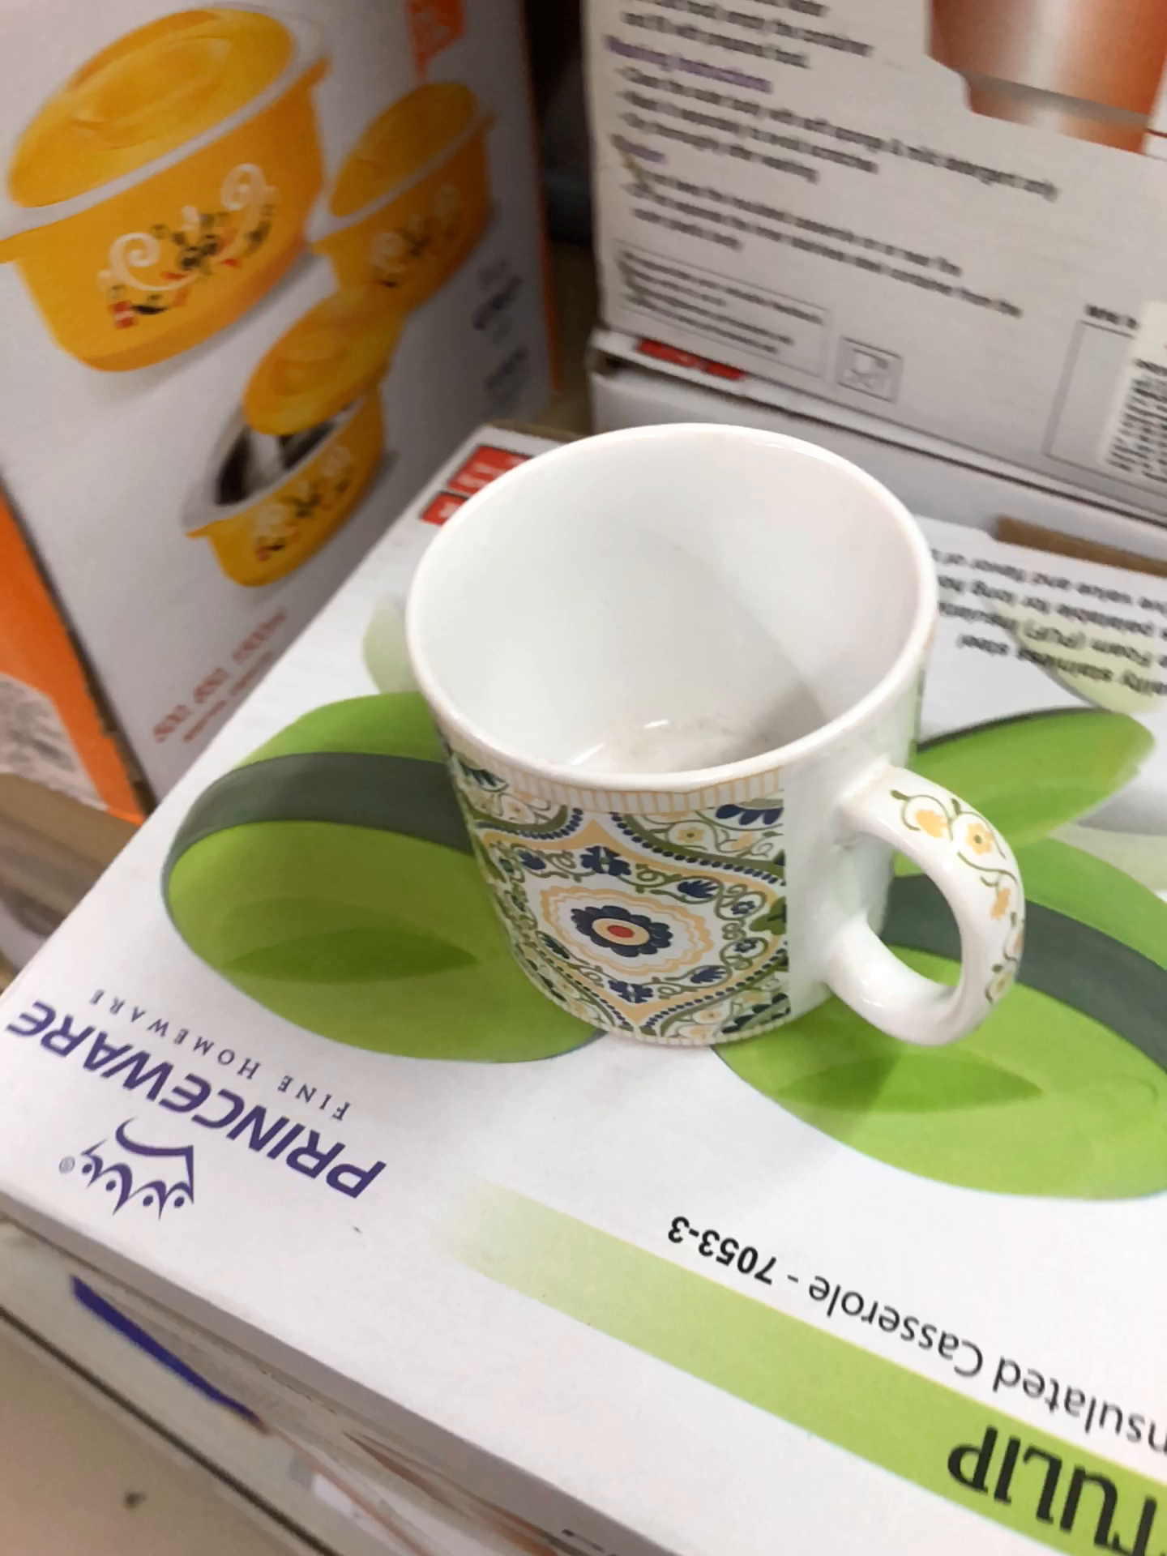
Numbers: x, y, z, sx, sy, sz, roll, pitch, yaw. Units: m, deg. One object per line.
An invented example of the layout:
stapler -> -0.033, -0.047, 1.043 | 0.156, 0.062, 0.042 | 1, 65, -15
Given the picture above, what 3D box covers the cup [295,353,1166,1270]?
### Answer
cup -> 0.025, 0.001, 0.208 | 0.110, 0.079, 0.070 | 33, 60, 30
